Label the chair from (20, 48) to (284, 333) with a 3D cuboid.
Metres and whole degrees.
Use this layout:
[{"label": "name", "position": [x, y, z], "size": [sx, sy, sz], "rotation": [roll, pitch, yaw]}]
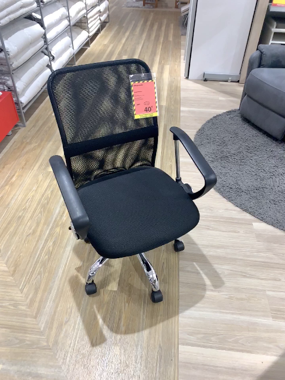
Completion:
[{"label": "chair", "position": [-0.026, -0.012, 1.209], "size": [0.641, 0.866, 0.603], "rotation": [-16, 44, -19]}]
